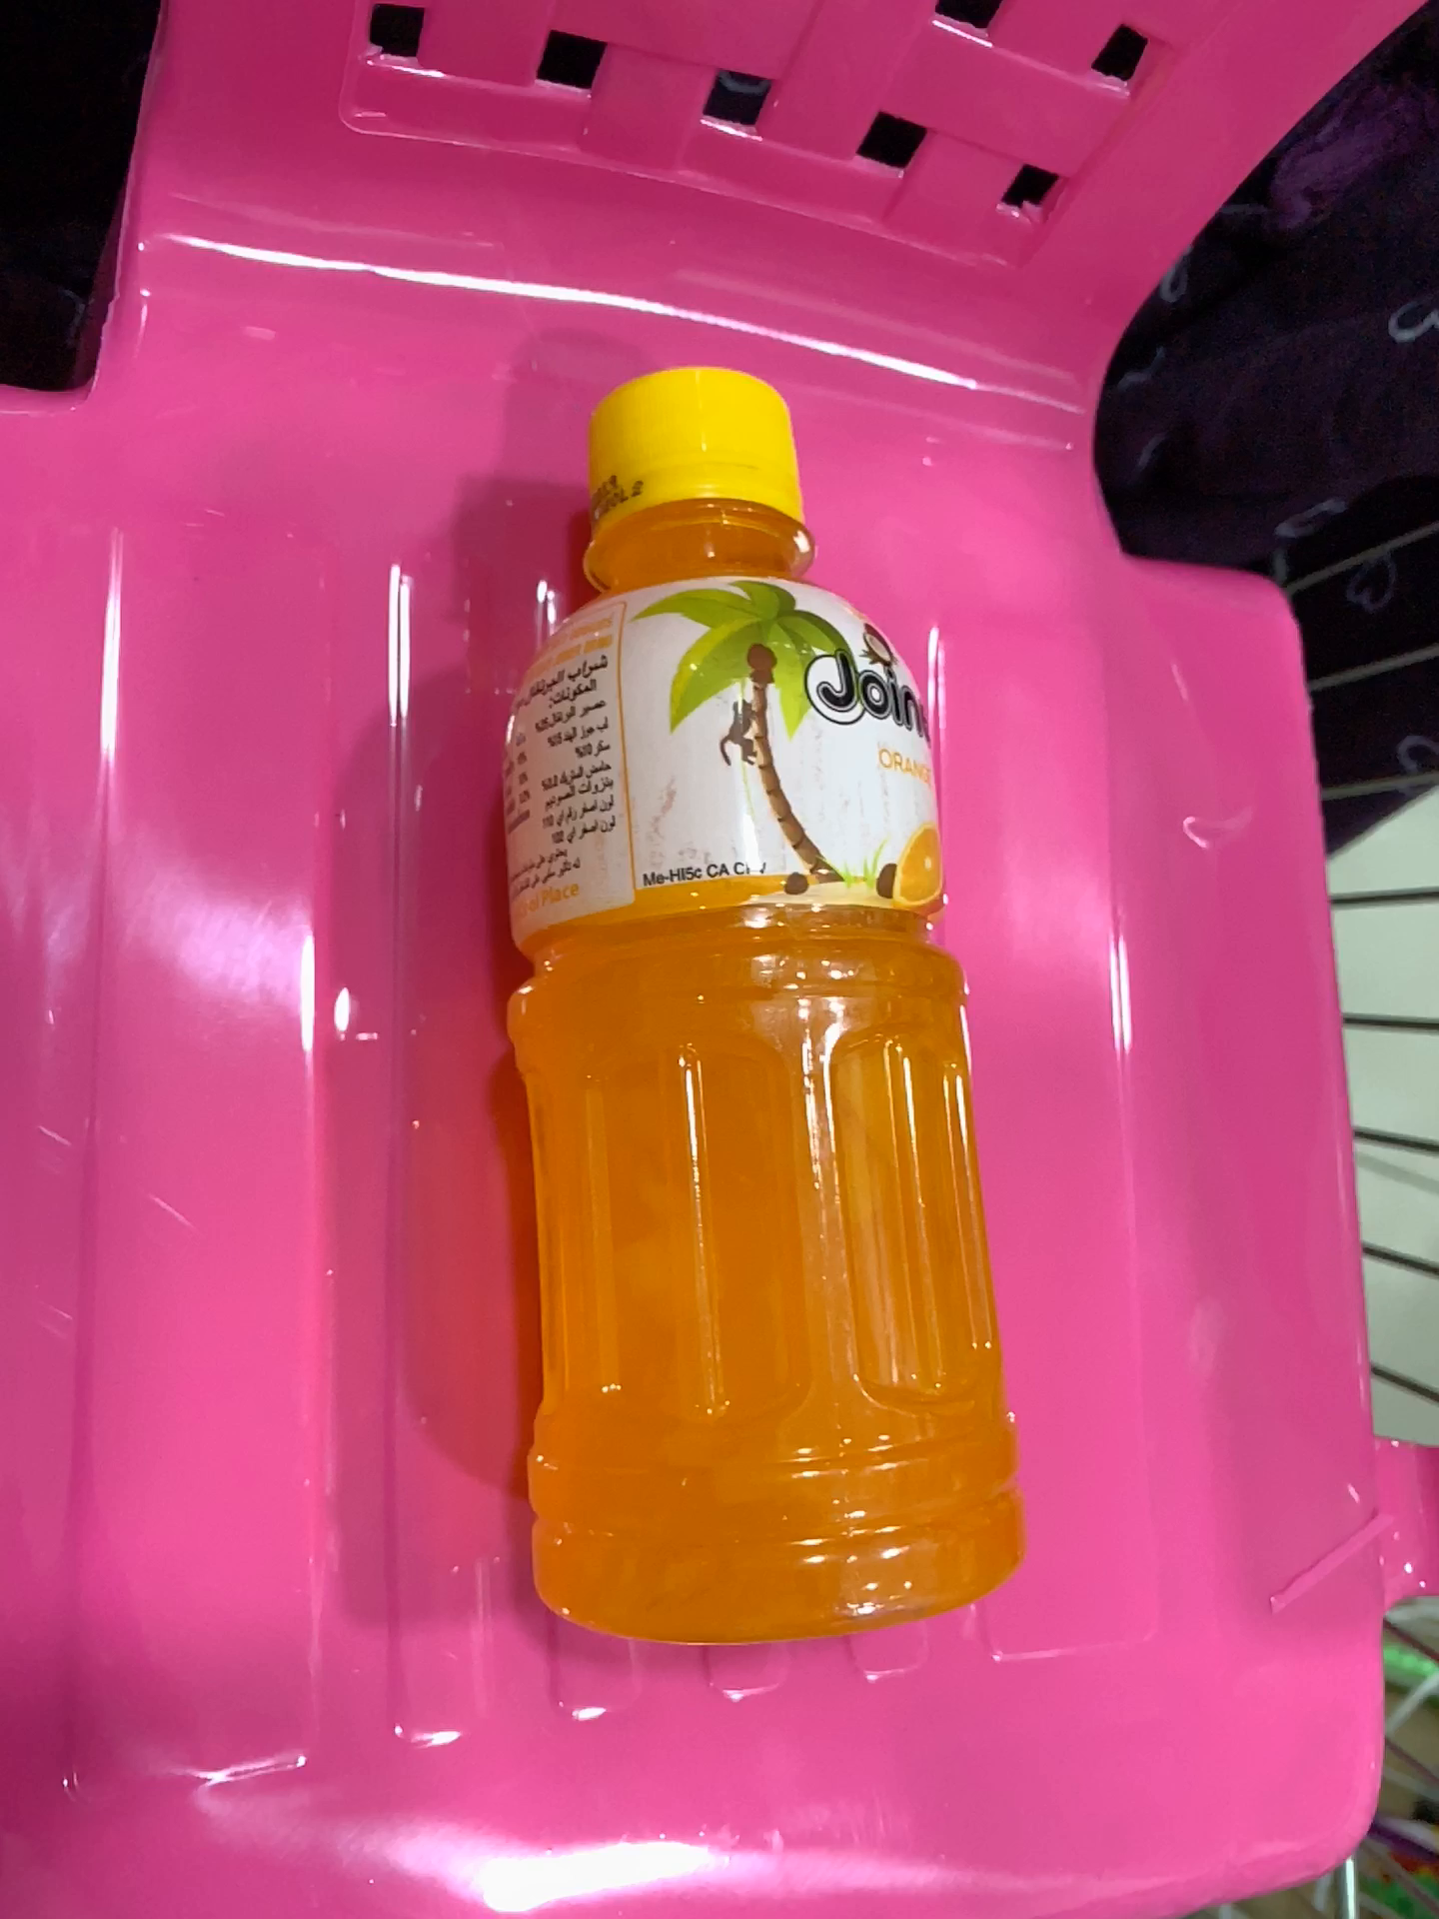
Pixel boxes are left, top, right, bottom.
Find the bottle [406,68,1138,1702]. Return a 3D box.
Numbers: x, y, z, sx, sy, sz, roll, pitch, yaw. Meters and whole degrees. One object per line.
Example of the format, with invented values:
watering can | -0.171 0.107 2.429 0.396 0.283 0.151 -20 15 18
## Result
bottle | 0.006 -0.008 0.201 0.070 0.060 0.170 4 82 -43
